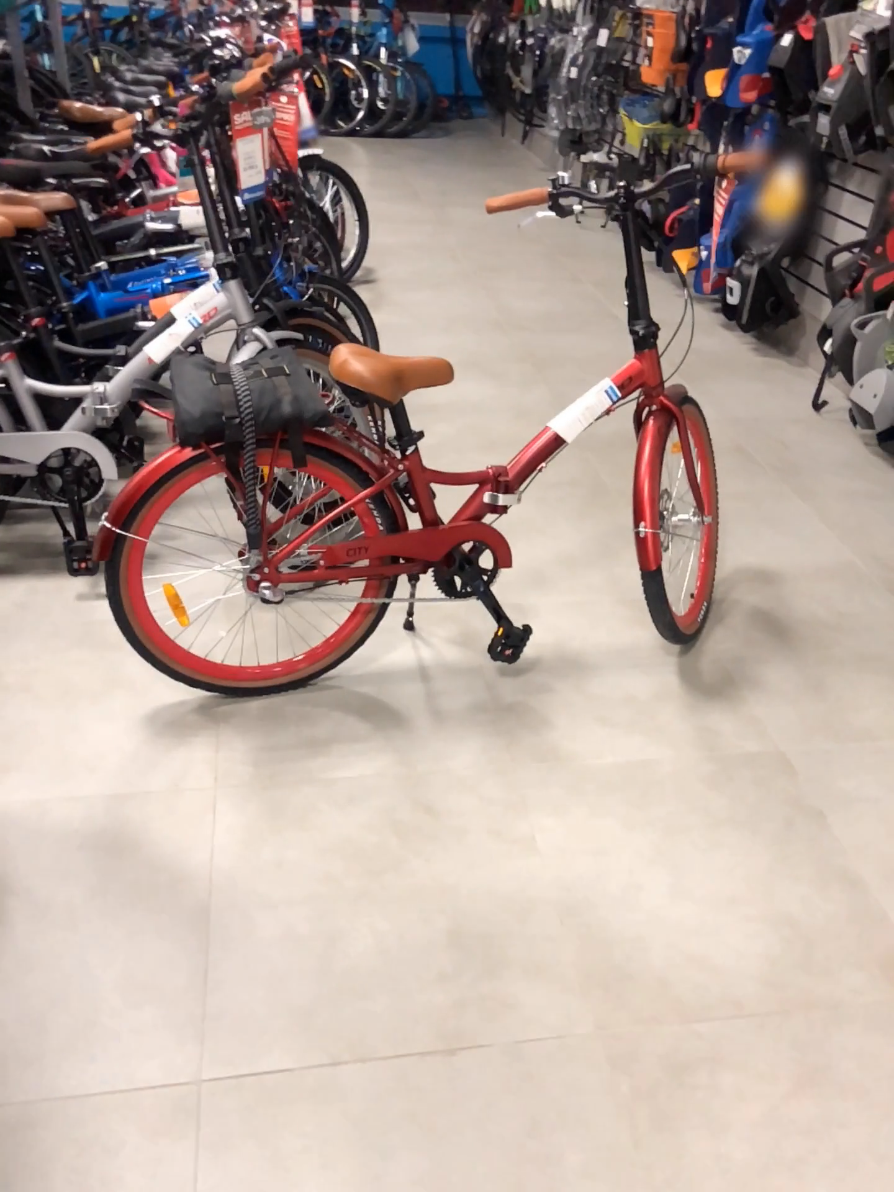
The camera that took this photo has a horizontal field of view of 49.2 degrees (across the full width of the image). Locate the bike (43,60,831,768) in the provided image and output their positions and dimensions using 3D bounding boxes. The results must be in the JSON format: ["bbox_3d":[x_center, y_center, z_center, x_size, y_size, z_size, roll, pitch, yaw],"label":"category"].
[{"bbox_3d":[-0.015,-0.479,2.158,1.496,1.111,0.518,-16,37,-24],"label":"bike"}]
